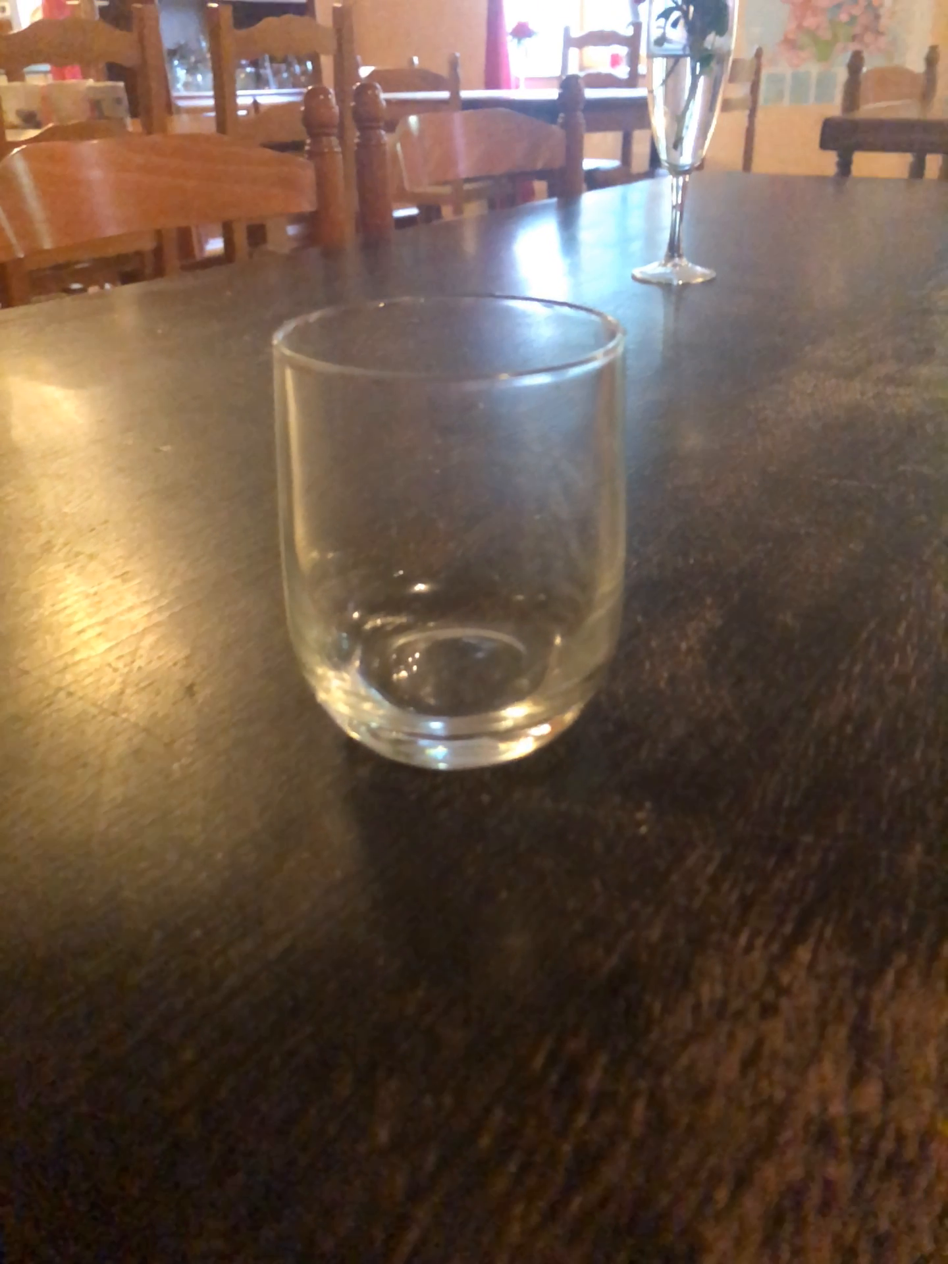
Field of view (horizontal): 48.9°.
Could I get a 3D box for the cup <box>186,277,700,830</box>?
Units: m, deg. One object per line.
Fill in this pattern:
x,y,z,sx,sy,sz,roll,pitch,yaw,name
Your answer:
-0.001,-0.024,0.223,0.070,0.084,0.078,14,32,27,cup
